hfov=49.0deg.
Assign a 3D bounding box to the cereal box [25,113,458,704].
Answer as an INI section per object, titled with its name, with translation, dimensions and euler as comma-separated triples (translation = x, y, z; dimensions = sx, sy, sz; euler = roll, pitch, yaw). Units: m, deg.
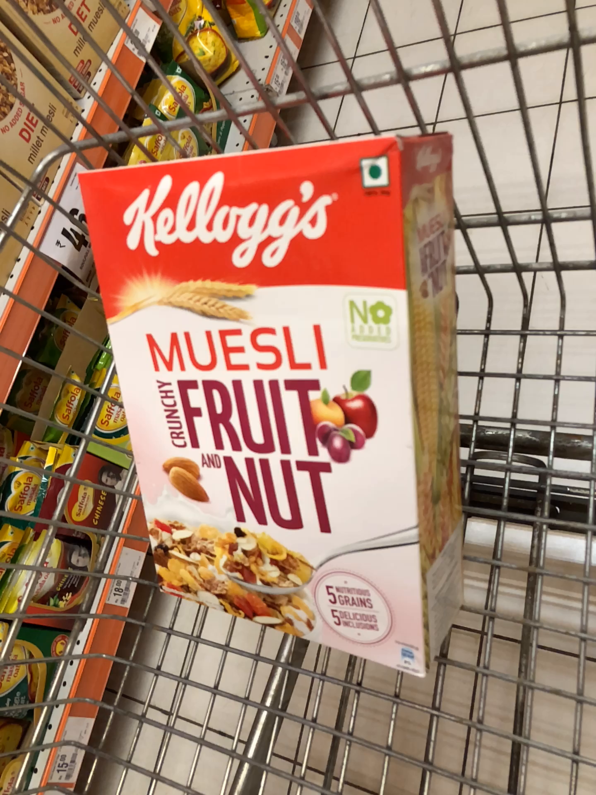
[cereal box]
translation = -0.022, 0.005, 0.352
dimensions = 0.191, 0.070, 0.269
euler = 6, 115, 31
